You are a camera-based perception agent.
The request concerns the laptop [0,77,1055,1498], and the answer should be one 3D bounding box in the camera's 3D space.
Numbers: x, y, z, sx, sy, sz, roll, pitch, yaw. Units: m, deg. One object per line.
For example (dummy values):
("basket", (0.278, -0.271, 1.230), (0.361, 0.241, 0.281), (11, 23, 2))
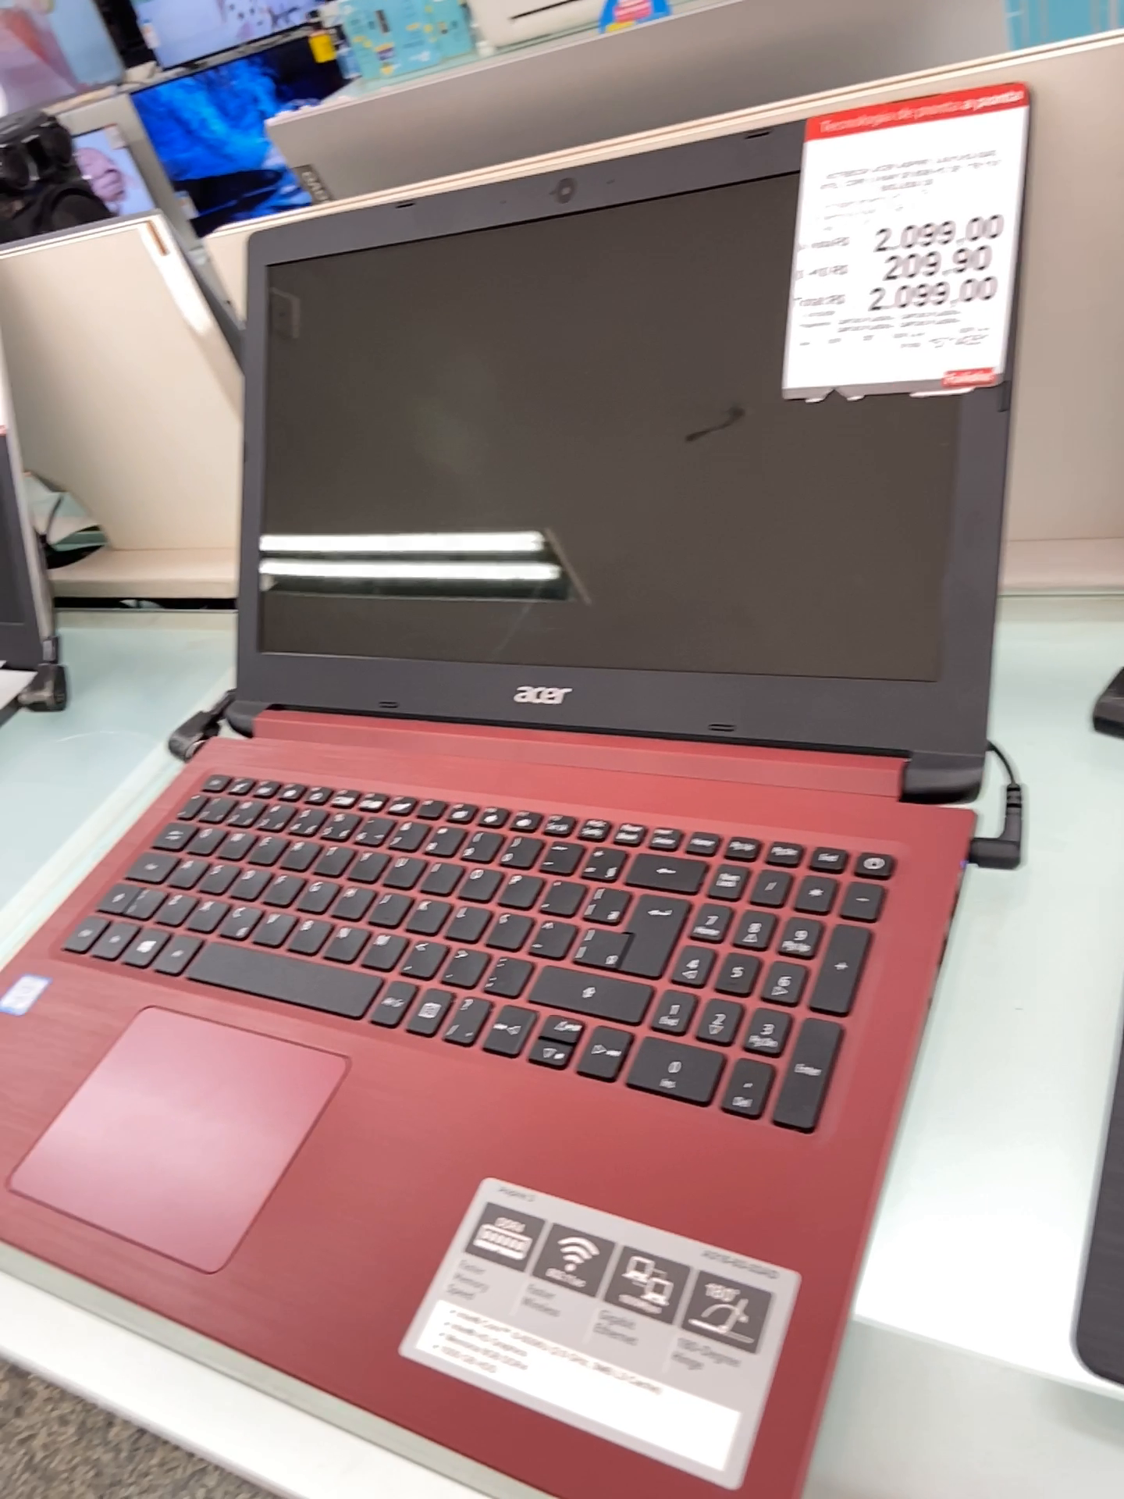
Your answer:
("laptop", (-0.061, -0.039, 0.437), (0.391, 0.193, 0.431), (4, 44, 30))
